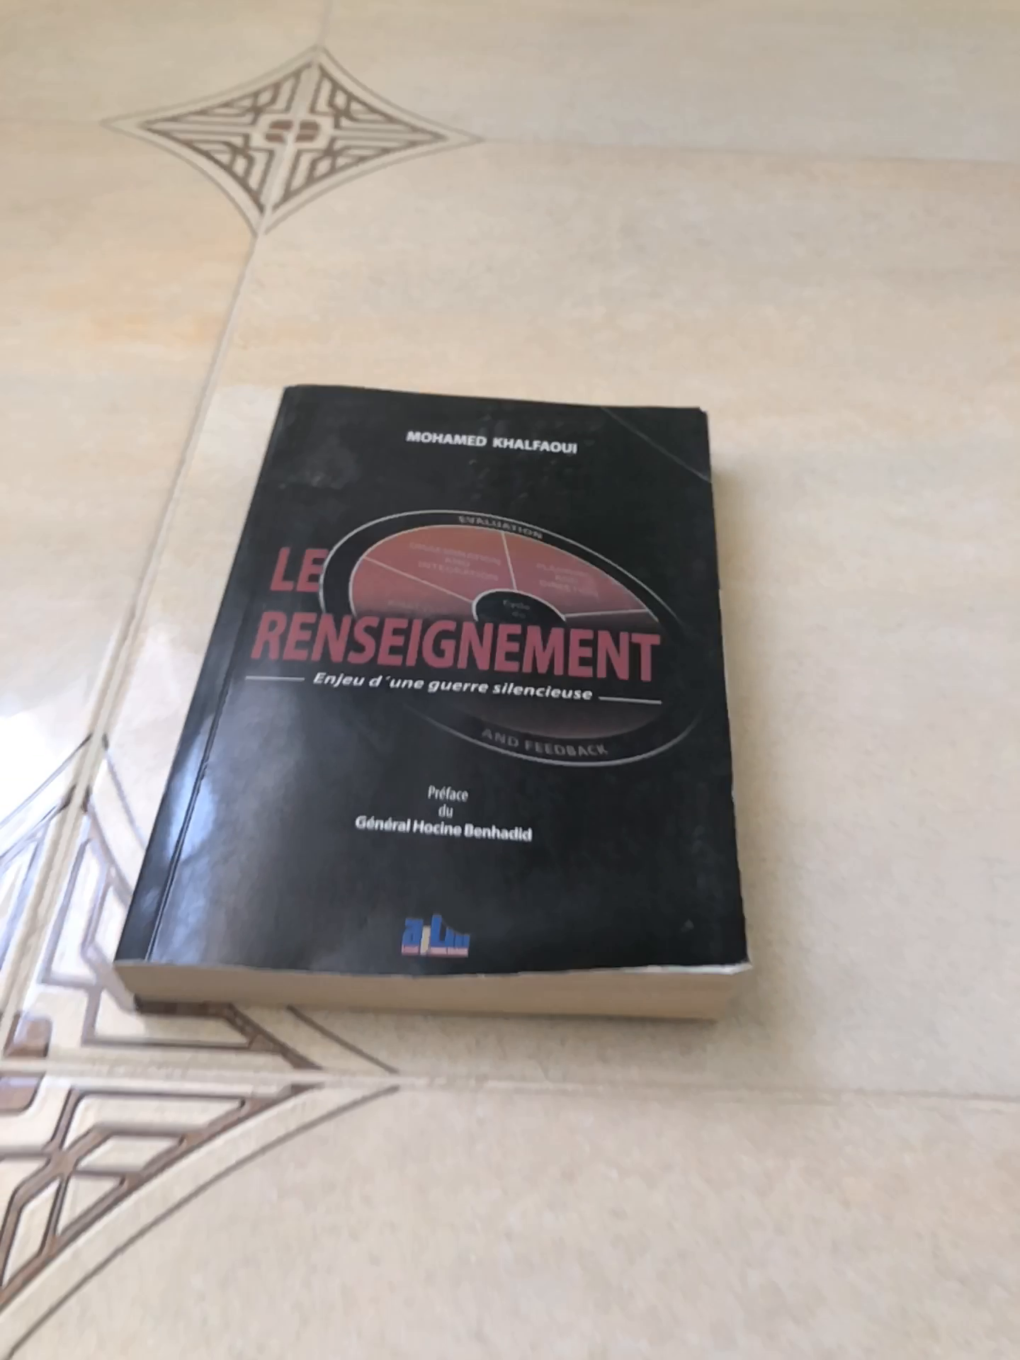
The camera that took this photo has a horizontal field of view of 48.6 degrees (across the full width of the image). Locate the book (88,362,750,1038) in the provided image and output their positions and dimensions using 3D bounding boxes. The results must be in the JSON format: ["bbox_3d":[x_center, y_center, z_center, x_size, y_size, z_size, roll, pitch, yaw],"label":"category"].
[{"bbox_3d":[-0.017,-0.007,0.324,0.146,0.037,0.201,4,53,-1],"label":"book"}]
